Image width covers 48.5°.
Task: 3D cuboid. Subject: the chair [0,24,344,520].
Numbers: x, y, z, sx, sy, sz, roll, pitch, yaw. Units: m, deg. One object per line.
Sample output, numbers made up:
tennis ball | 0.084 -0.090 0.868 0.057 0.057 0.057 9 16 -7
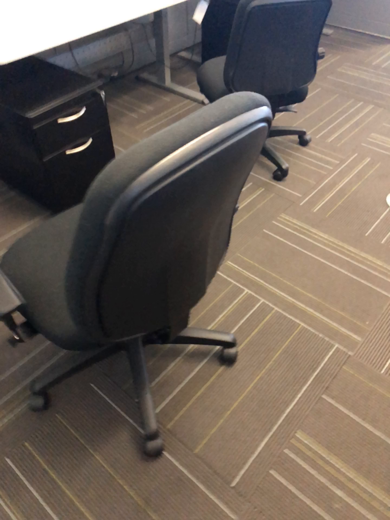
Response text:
chair | -0.181 0.024 1.211 0.682 0.956 0.741 31 53 28
